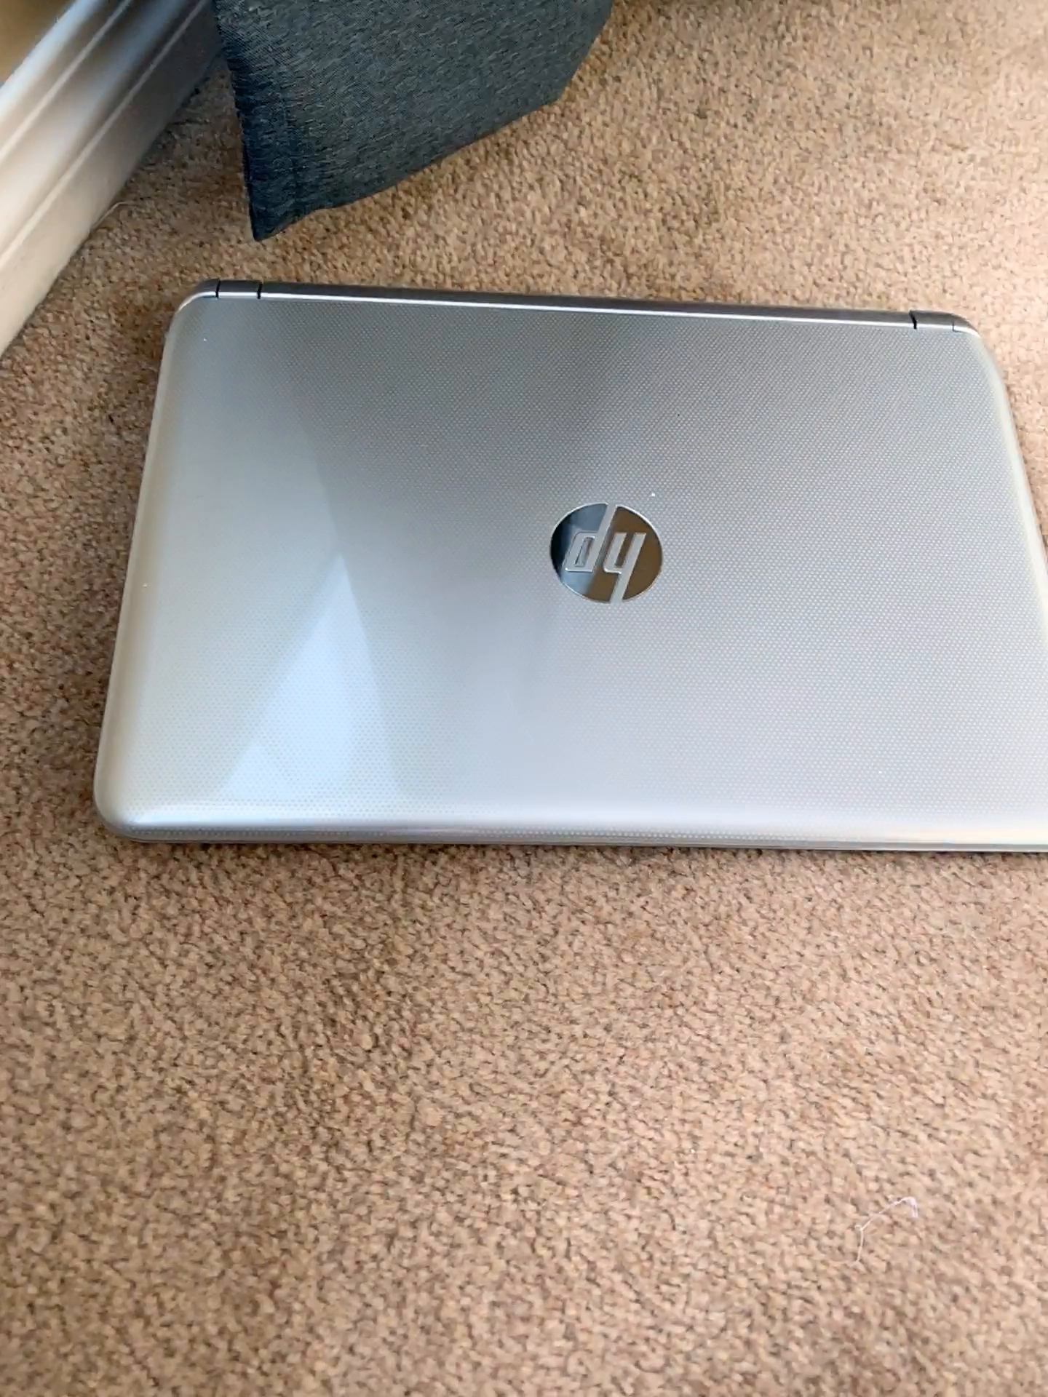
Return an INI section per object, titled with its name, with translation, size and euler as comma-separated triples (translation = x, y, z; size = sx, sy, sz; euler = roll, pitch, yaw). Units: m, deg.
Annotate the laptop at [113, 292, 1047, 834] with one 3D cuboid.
[laptop]
translation = 0.030, -0.061, 0.401
size = 0.328, 0.002, 0.223
euler = 1, 65, -3
